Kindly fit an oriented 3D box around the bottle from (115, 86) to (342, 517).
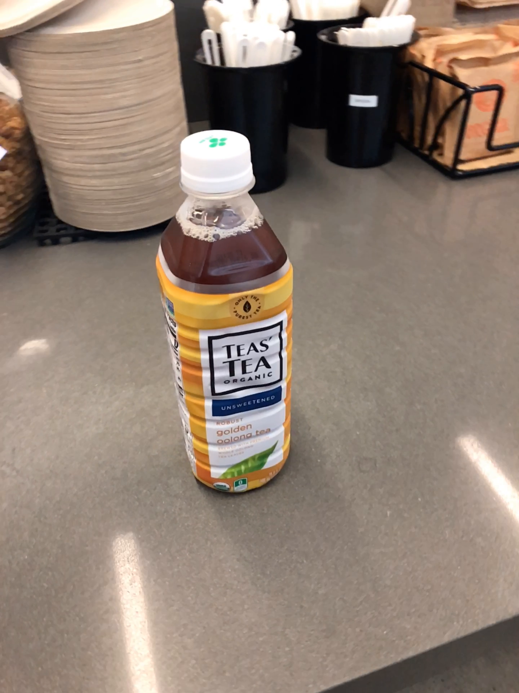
[{"bbox_3d":[-0.013,-0.012,0.292,0.070,0.199,0.070,-1,40,1],"label":"bottle"}]
